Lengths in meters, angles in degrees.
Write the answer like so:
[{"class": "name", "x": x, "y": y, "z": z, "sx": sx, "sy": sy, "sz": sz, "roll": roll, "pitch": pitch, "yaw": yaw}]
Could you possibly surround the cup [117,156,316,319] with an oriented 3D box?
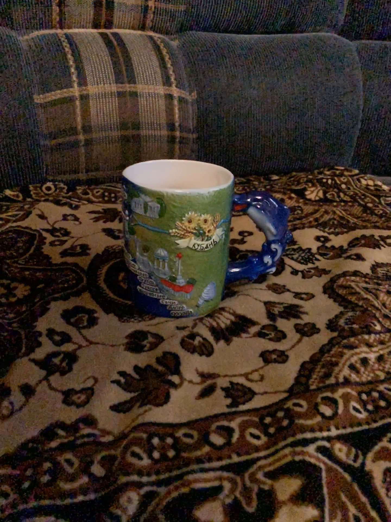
[{"class": "cup", "x": 0.010, "y": -0.022, "z": 0.335, "sx": 0.136, "sy": 0.105, "sz": 0.084, "roll": -1, "pitch": 28, "yaw": -6}]
